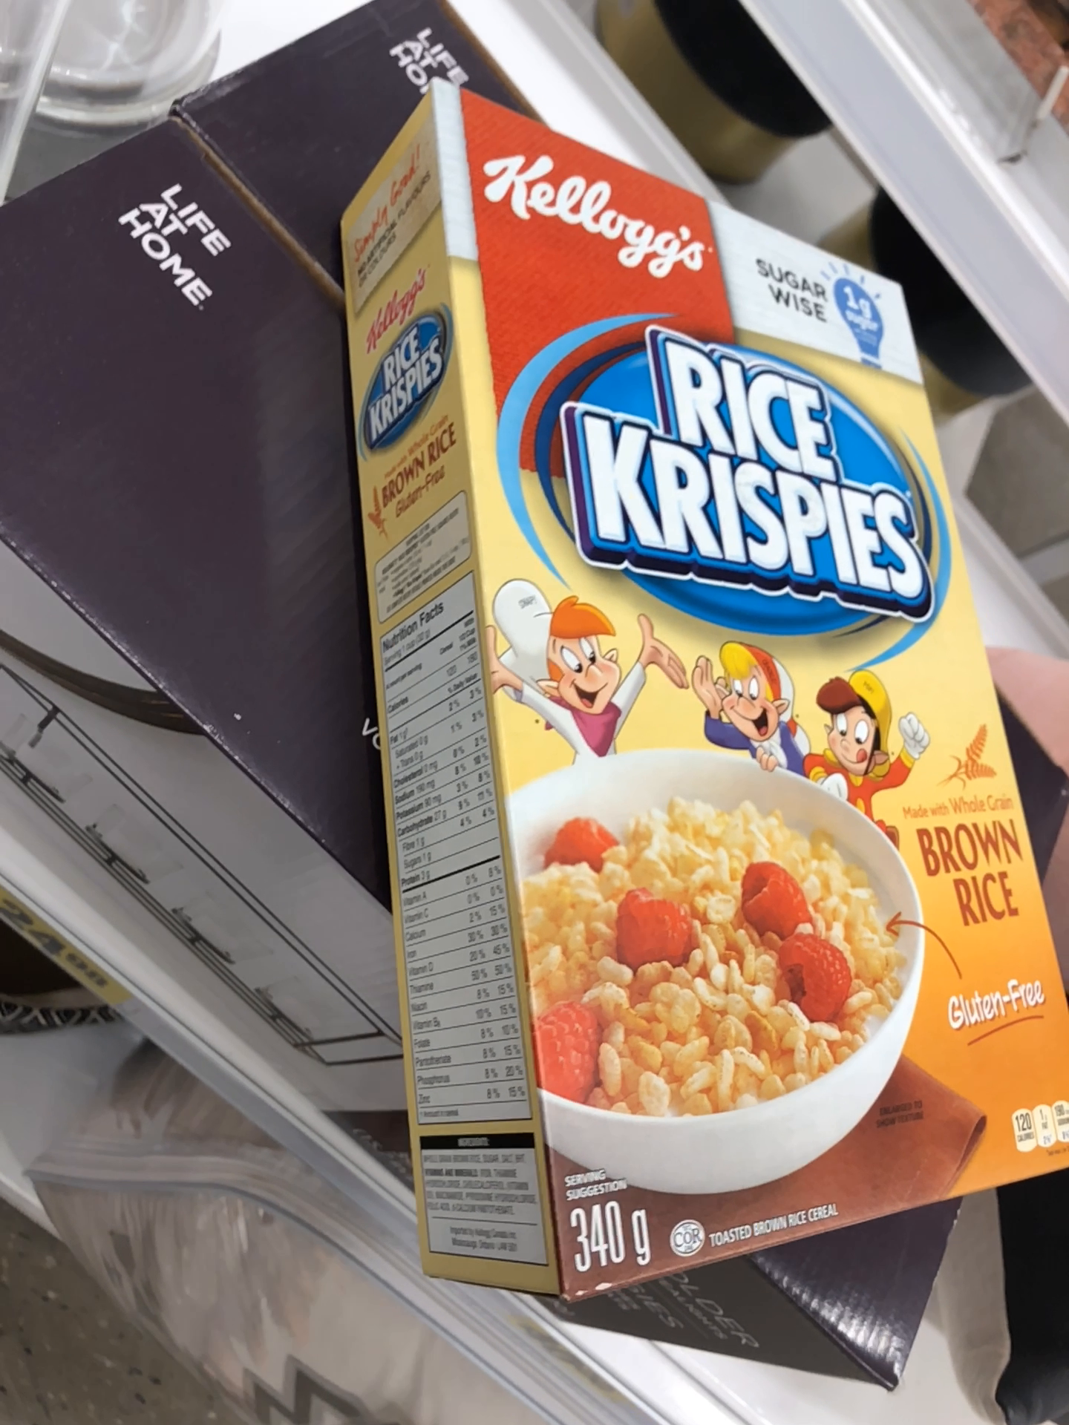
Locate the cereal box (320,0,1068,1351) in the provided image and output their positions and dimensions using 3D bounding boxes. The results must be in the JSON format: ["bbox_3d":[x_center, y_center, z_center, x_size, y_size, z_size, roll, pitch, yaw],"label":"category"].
[{"bbox_3d":[0.056,-0.013,0.365,0.221,0.070,0.330,9,66,-37],"label":"cereal box"}]
